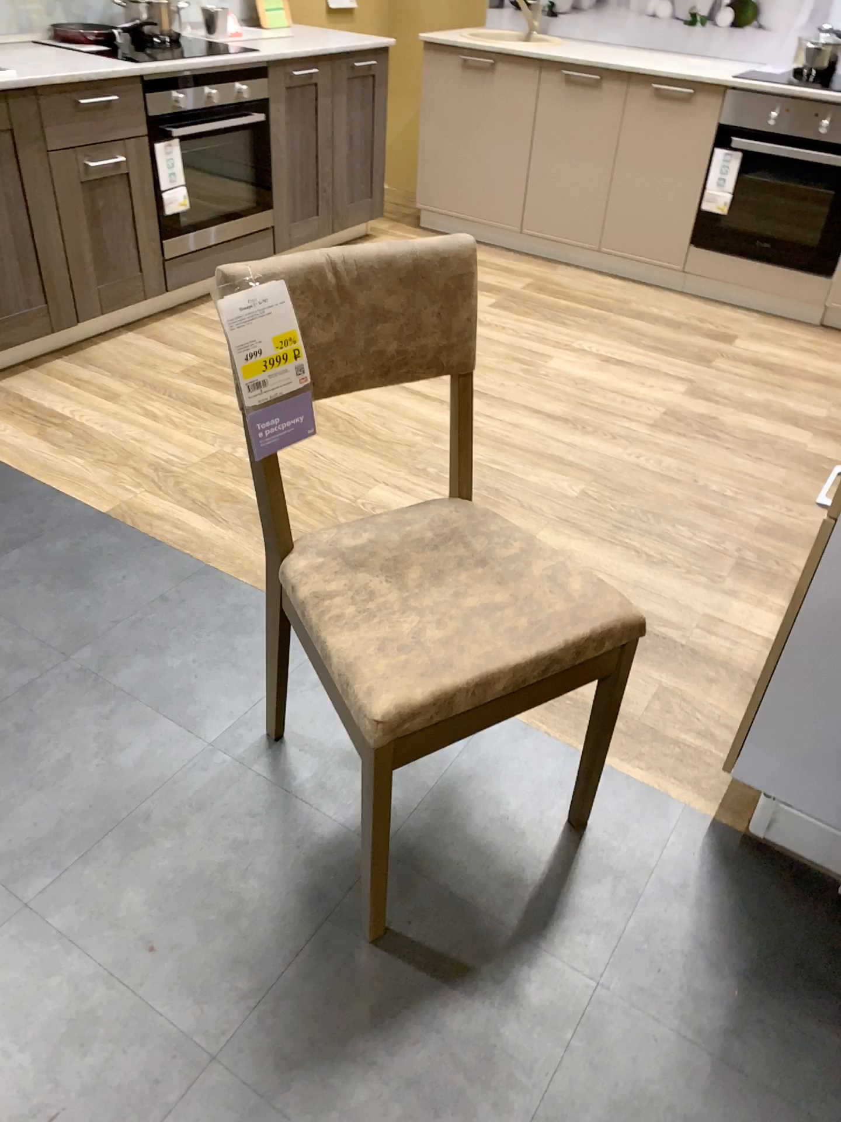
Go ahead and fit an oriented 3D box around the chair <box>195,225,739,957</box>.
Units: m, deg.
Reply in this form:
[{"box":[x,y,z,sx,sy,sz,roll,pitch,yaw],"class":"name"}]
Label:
[{"box":[0.009,0.043,1.347,0.481,0.924,0.512,-17,41,-27],"class":"chair"}]
